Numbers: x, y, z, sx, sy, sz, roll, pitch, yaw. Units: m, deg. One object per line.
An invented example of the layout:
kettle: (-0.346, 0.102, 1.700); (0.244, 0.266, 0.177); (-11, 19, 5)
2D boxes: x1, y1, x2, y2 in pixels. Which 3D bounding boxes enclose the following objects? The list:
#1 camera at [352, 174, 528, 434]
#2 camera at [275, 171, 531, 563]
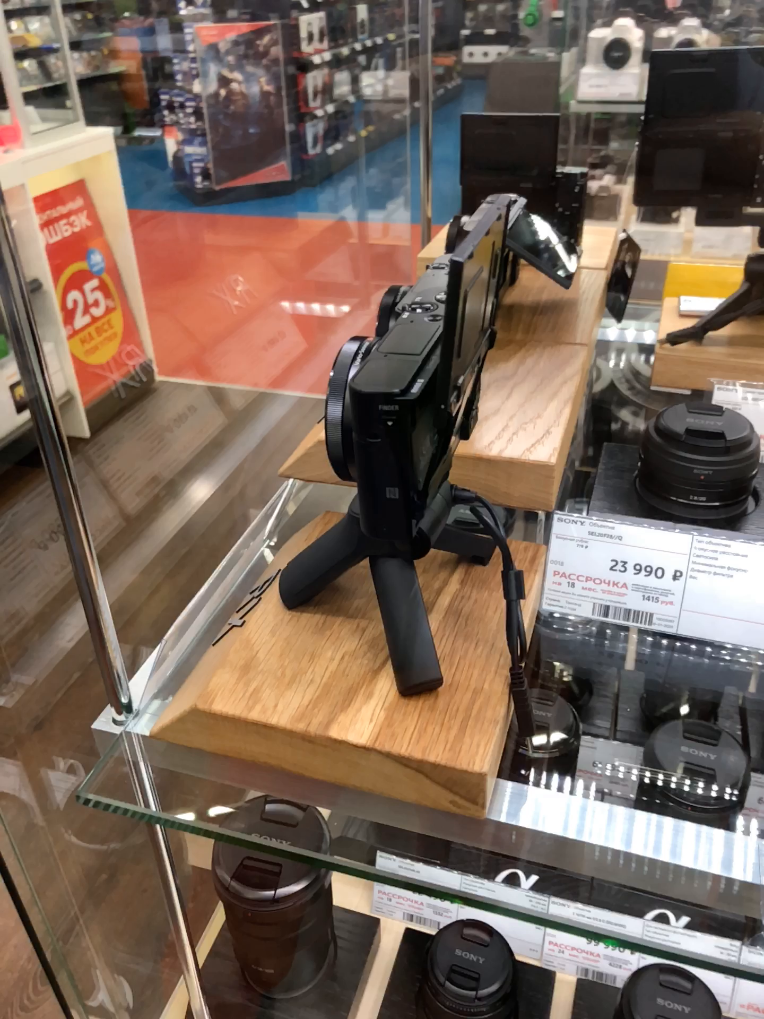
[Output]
camera: (0.034, -0.113, 0.448); (0.065, 0.102, 0.103); (8, 34, 15)
camera: (0.013, -0.056, 0.303); (0.057, 0.102, 0.103); (8, 34, 15)
